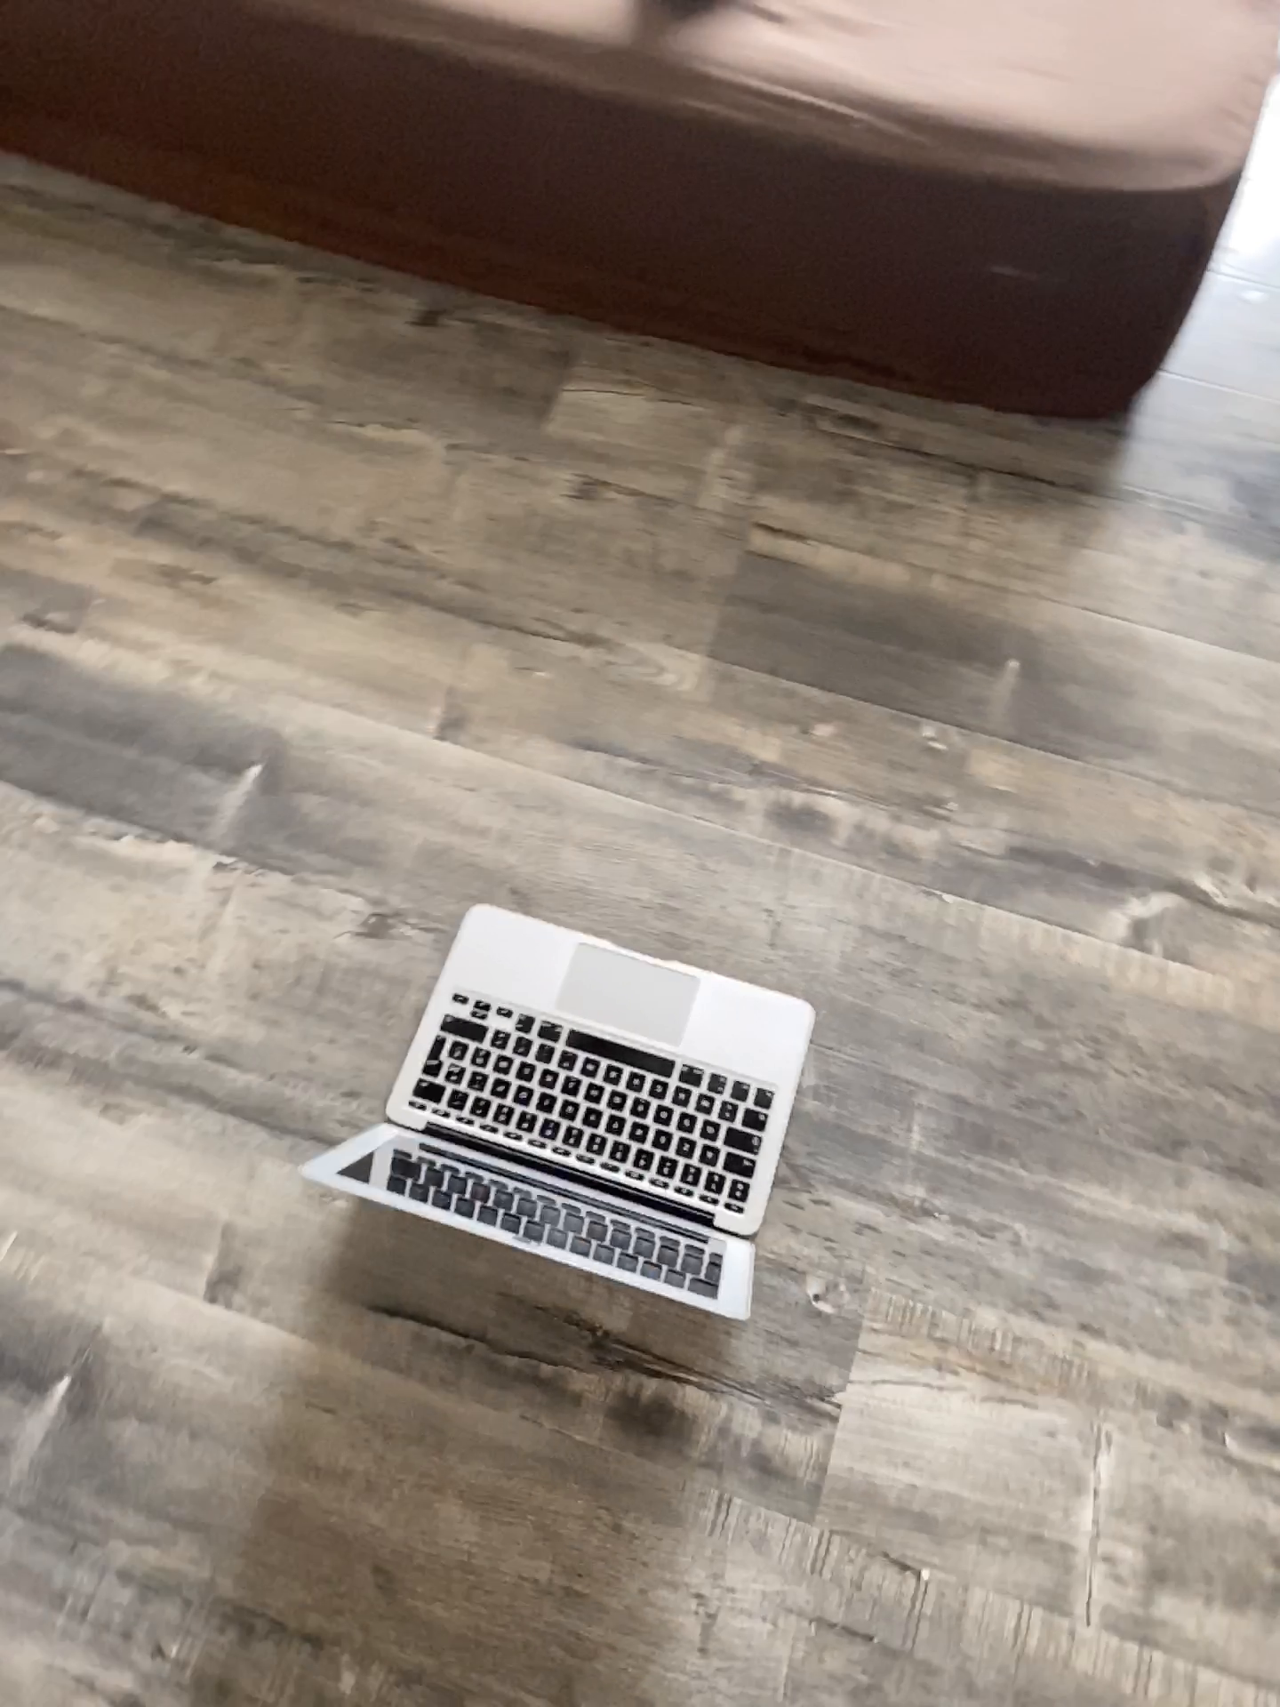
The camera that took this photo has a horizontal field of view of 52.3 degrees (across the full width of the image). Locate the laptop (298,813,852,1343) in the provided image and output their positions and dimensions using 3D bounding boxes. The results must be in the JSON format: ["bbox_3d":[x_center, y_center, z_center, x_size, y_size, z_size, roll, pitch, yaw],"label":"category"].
[{"bbox_3d":[-0.036,0.158,0.908,0.290,0.160,0.255,16,66,7],"label":"laptop"}]
